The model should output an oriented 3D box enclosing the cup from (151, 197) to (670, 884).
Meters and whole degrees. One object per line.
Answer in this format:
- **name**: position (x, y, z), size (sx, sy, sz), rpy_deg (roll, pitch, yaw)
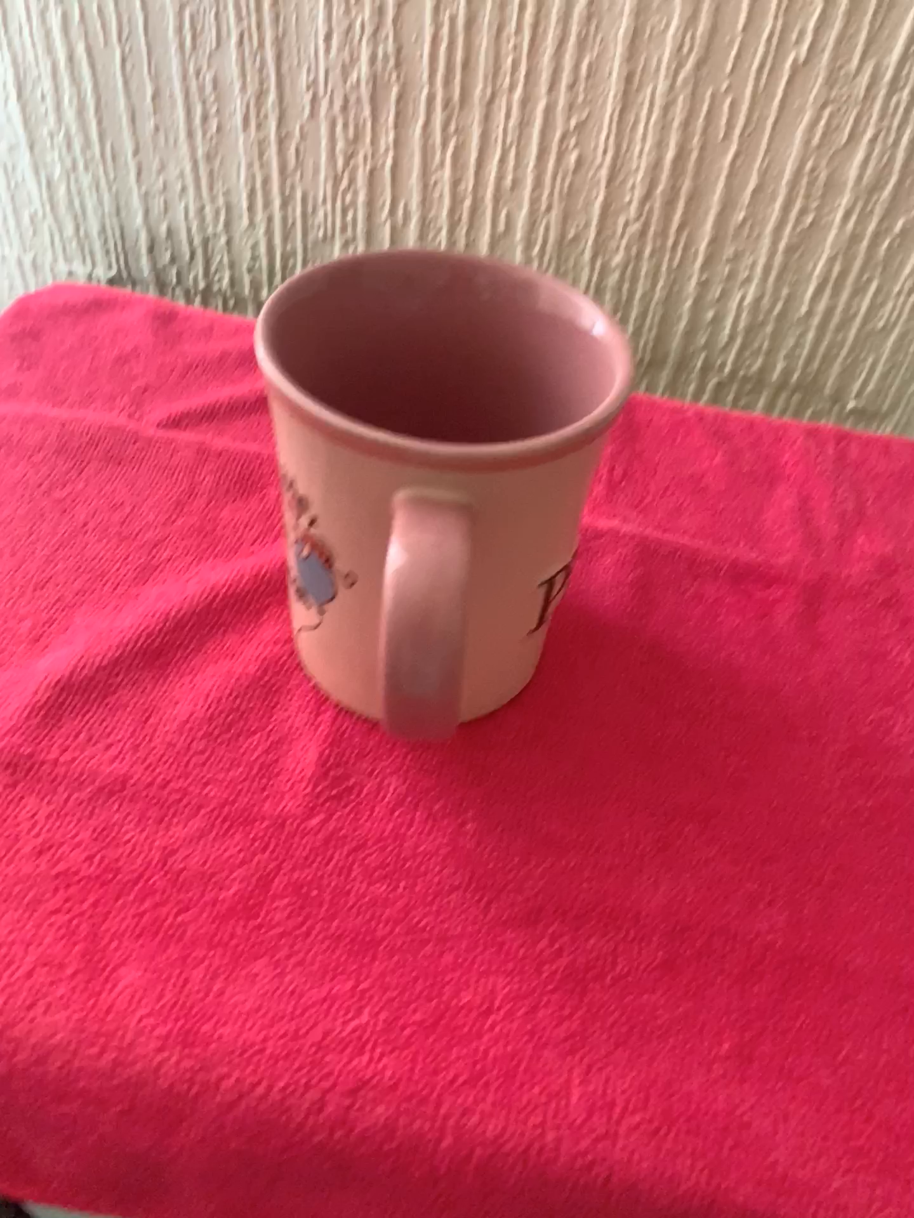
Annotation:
- **cup**: position (-0.006, -0.021, 0.247), size (0.090, 0.109, 0.131), rpy_deg (8, 45, 1)
